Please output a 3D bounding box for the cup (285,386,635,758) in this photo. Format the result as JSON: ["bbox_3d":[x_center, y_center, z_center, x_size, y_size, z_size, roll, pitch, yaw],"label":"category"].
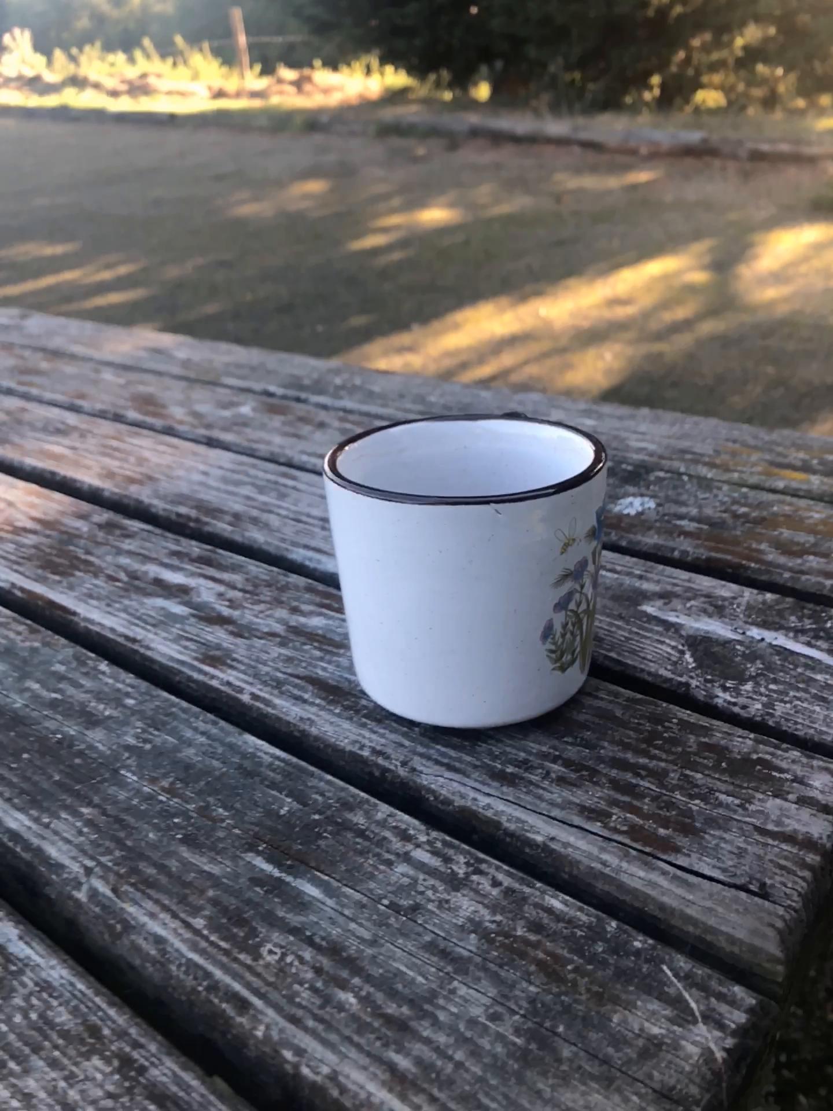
[{"bbox_3d":[0.023,-0.003,0.309,0.086,0.078,0.109,3,27,17],"label":"cup"}]
